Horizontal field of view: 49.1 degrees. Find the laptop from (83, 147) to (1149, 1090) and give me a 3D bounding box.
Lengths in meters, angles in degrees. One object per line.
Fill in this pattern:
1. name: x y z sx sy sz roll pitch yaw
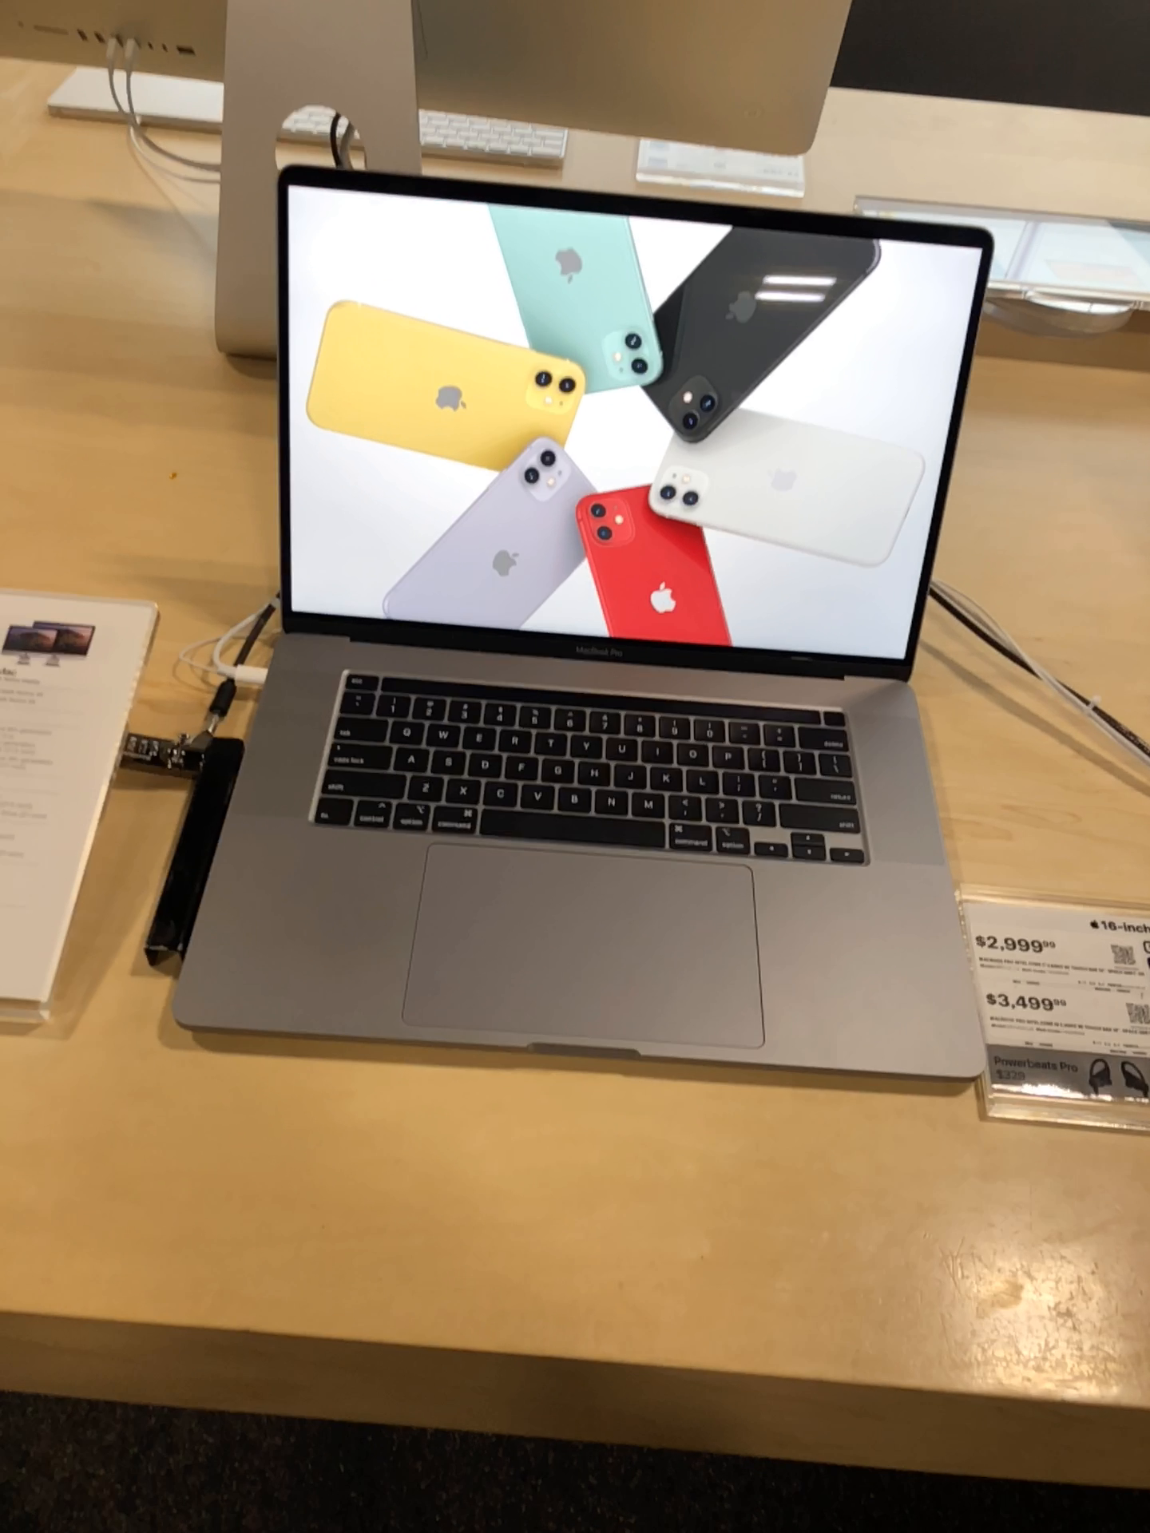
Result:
1. laptop: 0.010 -0.084 0.580 0.335 0.204 0.350 5 50 0
